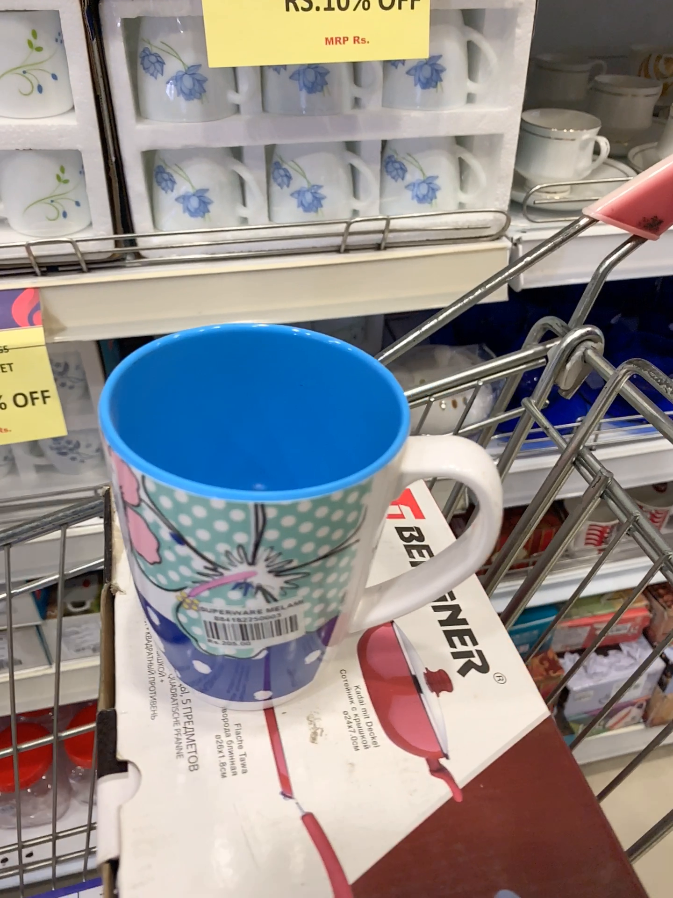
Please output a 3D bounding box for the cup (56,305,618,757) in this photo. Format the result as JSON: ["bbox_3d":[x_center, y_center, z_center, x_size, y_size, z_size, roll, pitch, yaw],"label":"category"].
[{"bbox_3d":[-0.002,0.025,0.210,0.120,0.100,0.080,4,38,-2],"label":"cup"}]
